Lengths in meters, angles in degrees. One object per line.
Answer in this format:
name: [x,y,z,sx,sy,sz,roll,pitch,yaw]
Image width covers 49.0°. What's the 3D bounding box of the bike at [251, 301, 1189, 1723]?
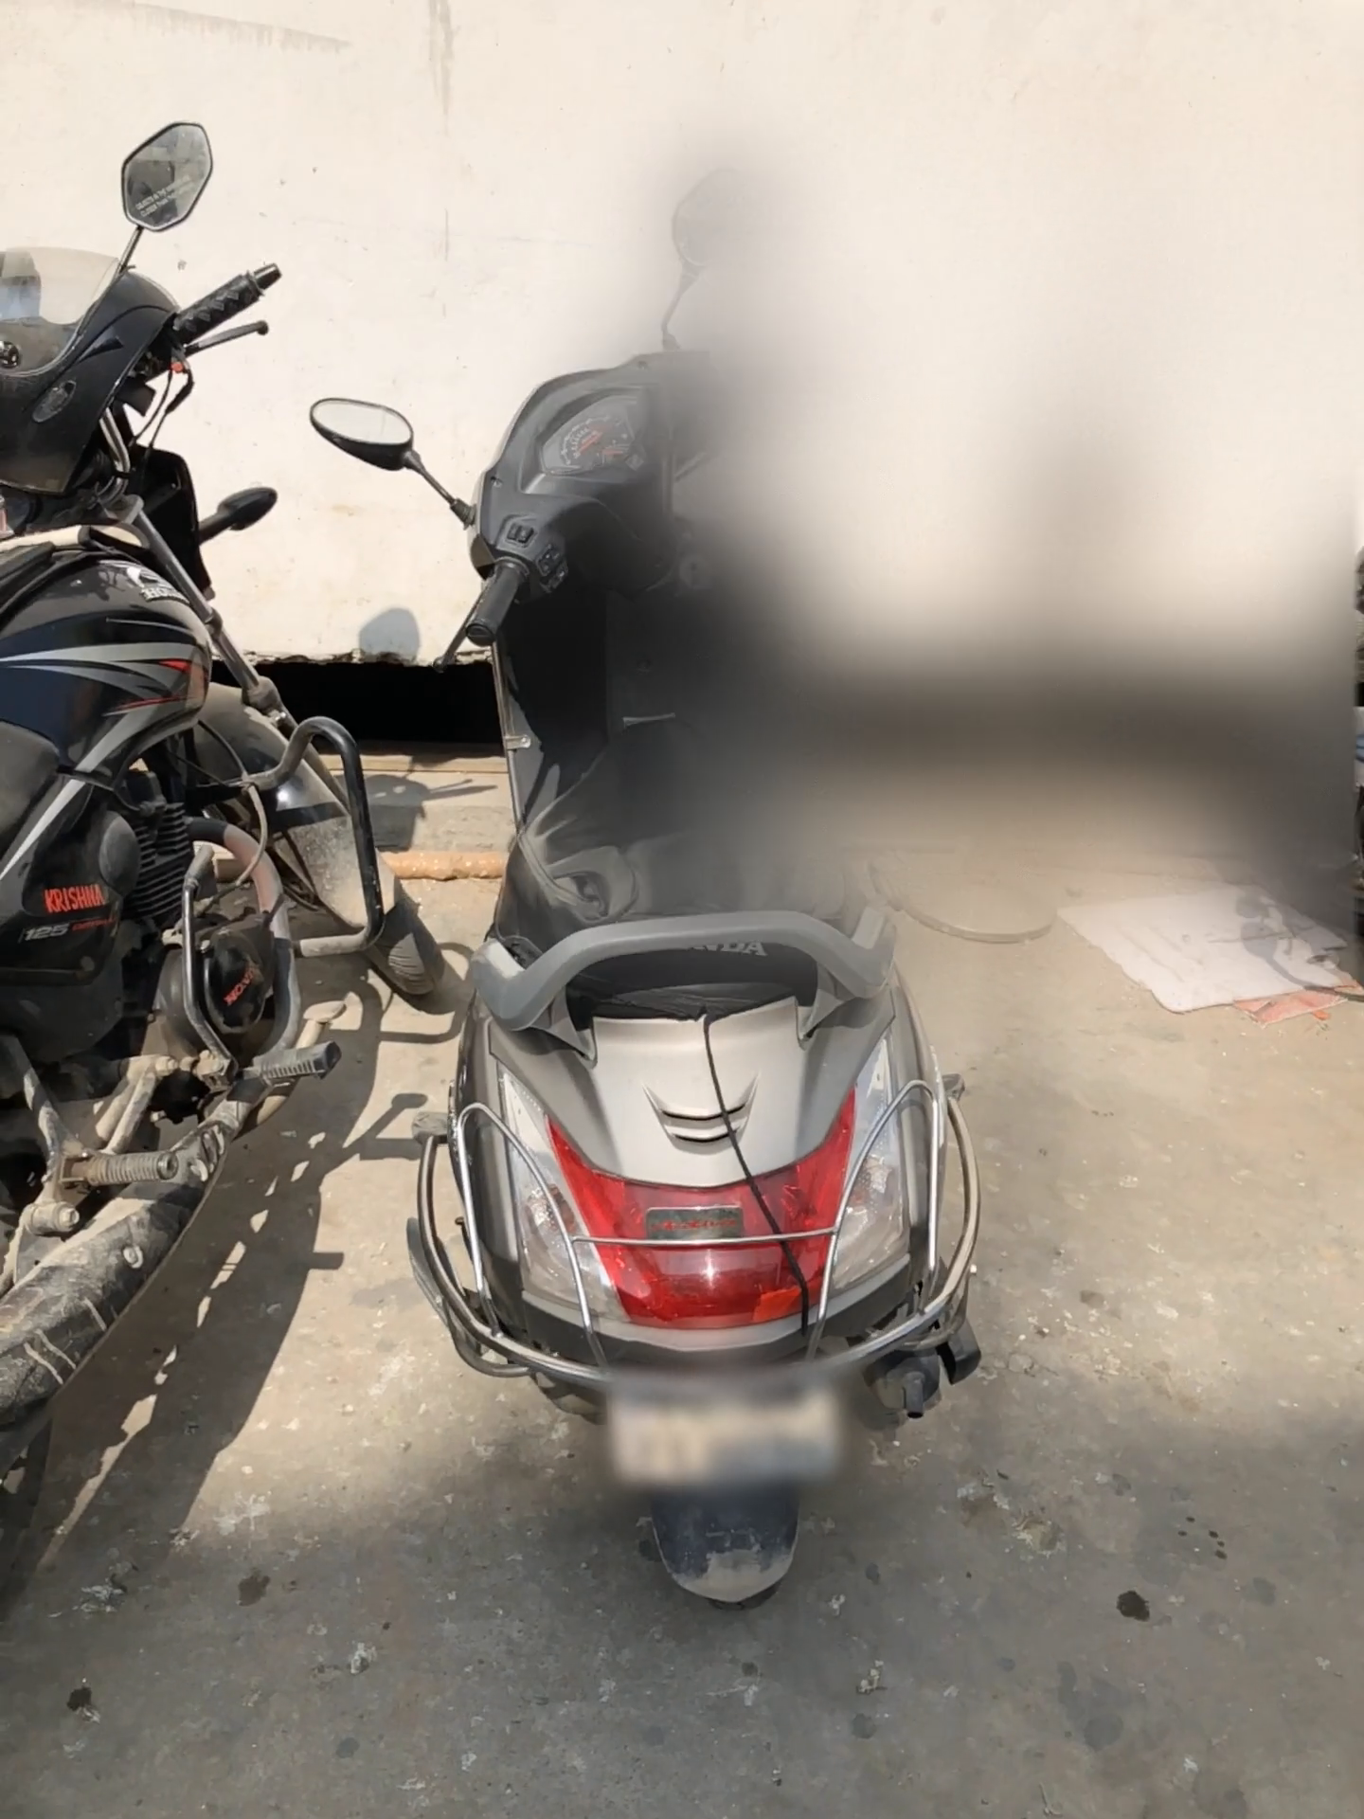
bike: [-0.049,-0.068,1.882,0.616,1.108,1.508,3,27,-6]
